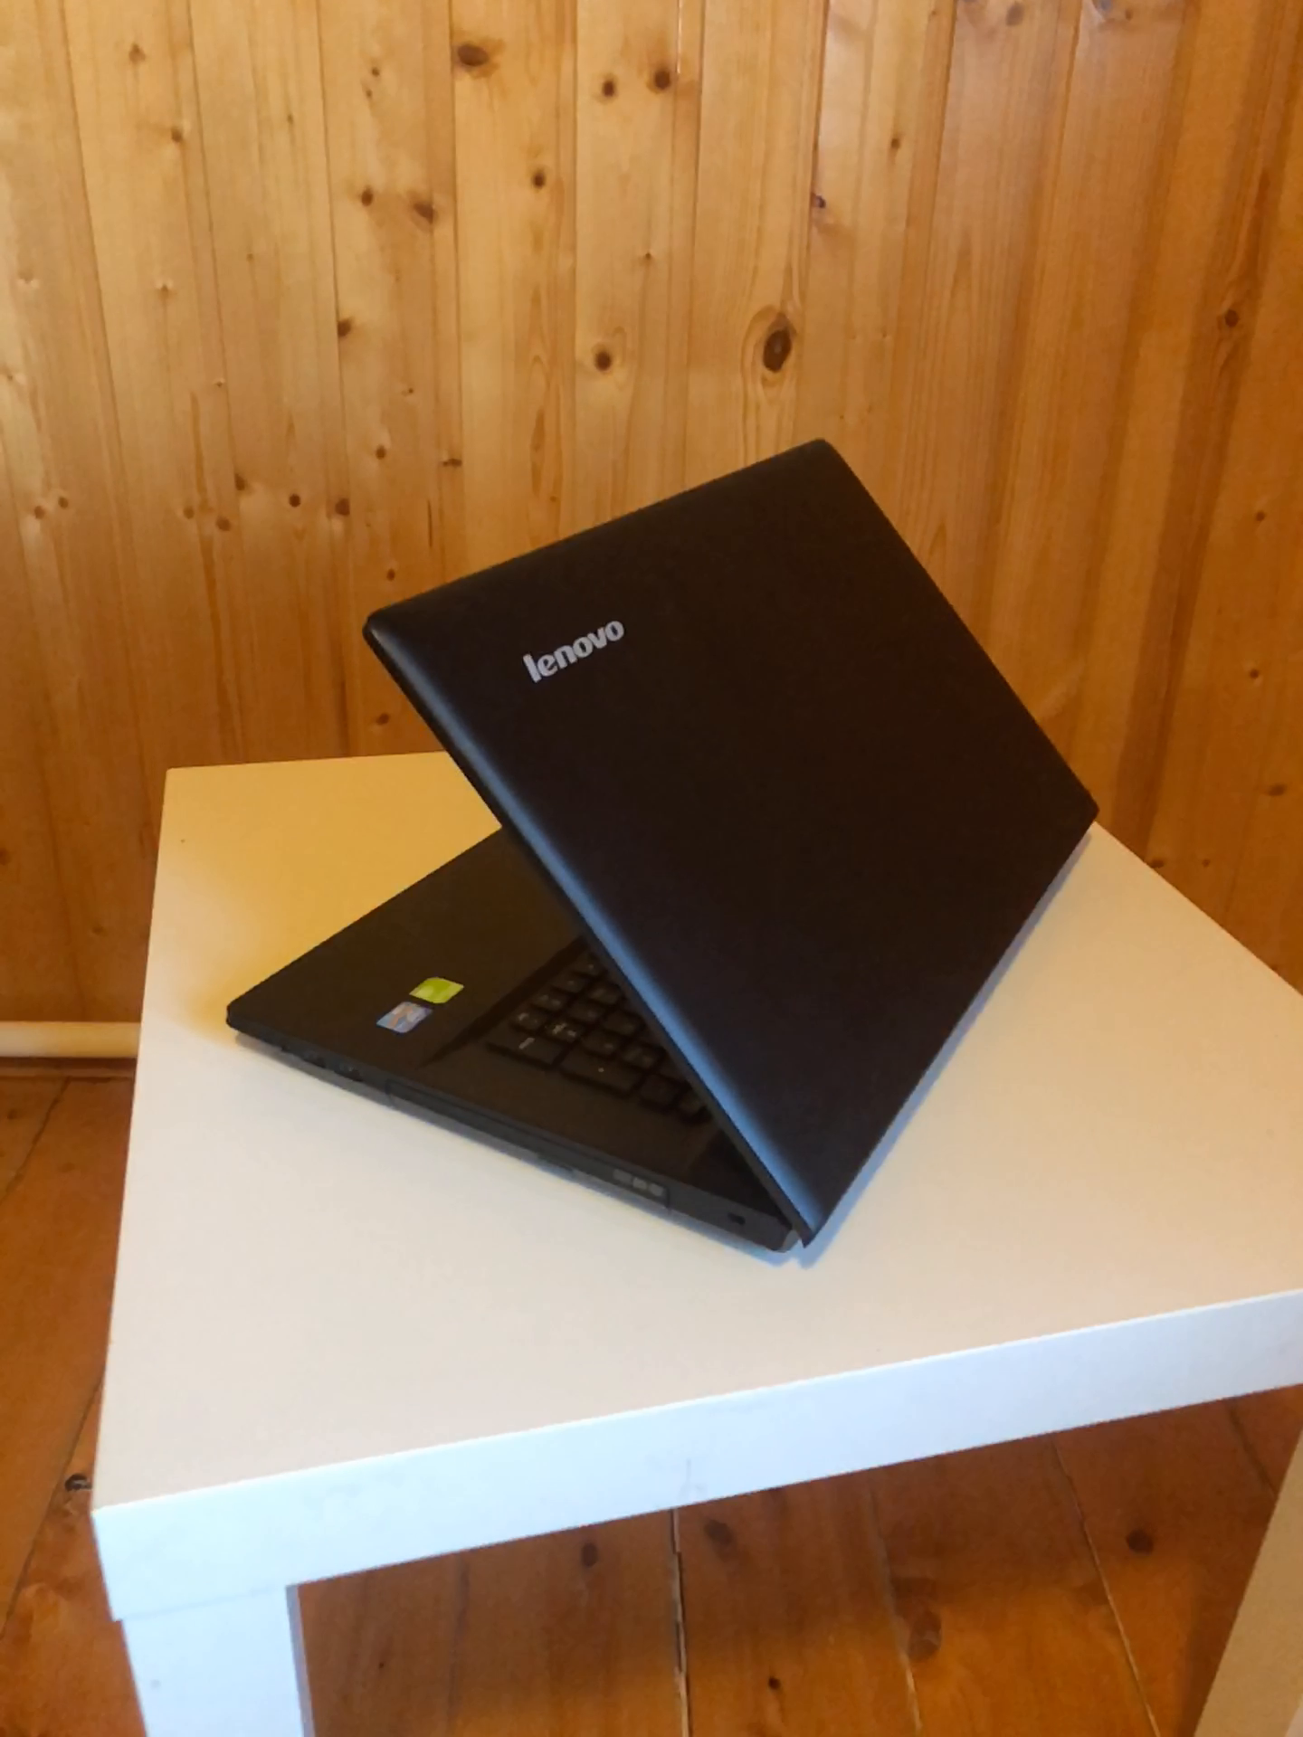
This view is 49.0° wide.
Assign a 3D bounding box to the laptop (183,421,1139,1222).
[{"bbox_3d":[0.032,-0.068,0.665,0.260,0.179,0.391,16,31,25],"label":"laptop"}]
